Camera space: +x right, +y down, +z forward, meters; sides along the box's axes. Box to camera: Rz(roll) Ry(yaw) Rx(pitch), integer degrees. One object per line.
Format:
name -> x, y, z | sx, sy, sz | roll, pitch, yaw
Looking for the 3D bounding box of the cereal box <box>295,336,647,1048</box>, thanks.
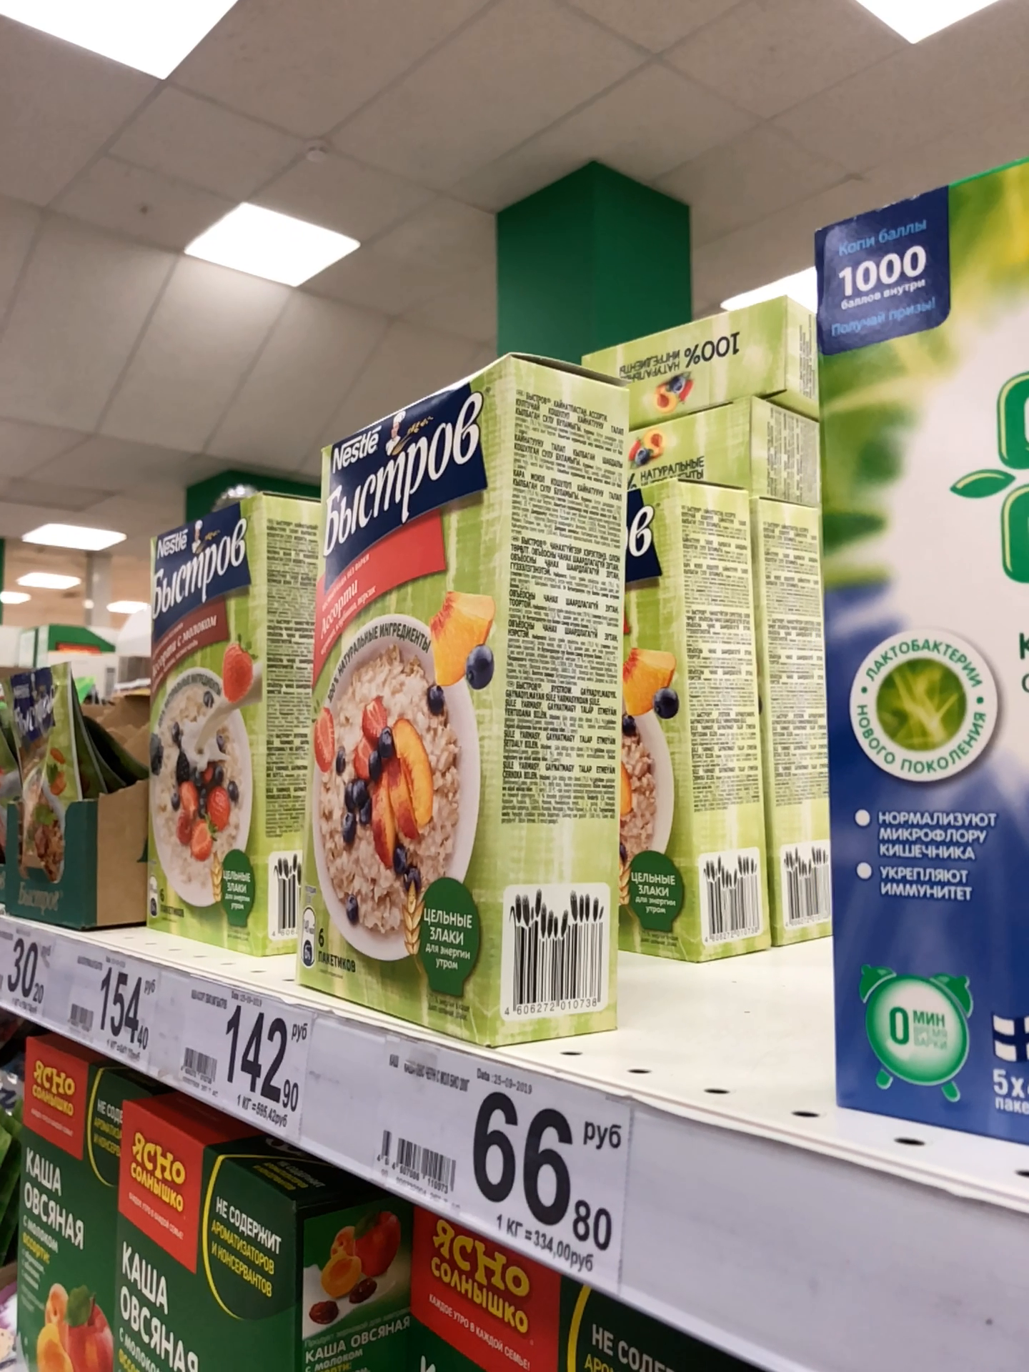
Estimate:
cereal box -> -0.019, 0.004, 0.385 | 0.050, 0.200, 0.130 | 6, -8, -34
